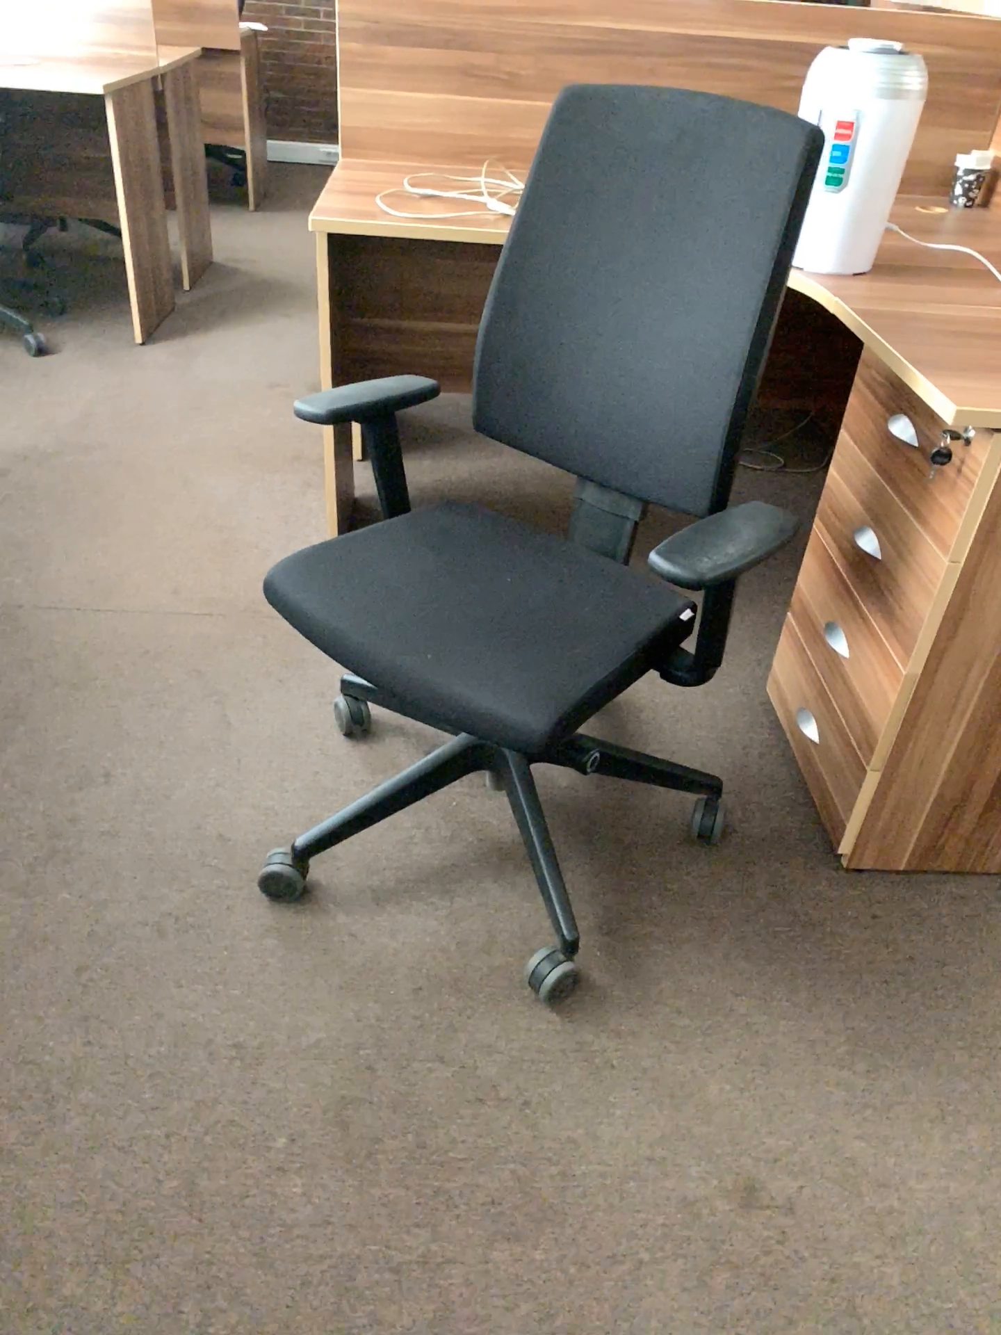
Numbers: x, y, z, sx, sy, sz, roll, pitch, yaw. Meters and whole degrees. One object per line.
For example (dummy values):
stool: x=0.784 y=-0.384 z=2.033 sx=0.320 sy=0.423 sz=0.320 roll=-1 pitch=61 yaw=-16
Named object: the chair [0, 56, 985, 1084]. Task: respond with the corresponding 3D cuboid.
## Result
chair: x=0.005 y=-0.208 z=1.306 sx=0.671 sy=0.915 sz=0.793 roll=27 pitch=41 yaw=29
